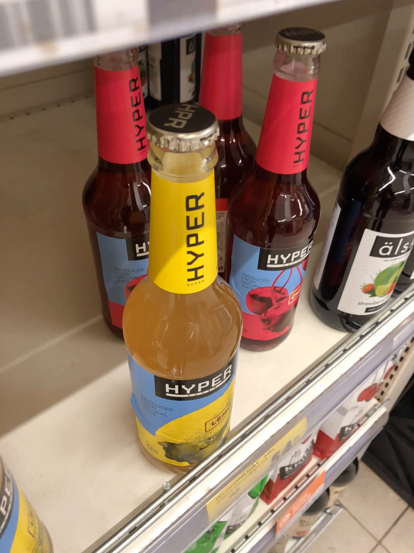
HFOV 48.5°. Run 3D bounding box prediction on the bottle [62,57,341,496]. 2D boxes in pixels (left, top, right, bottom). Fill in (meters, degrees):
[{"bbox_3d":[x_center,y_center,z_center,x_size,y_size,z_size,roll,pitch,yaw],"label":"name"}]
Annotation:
[{"bbox_3d":[-0.010,0.022,0.255,0.080,0.239,0.080,1,44,-1],"label":"bottle"}]
